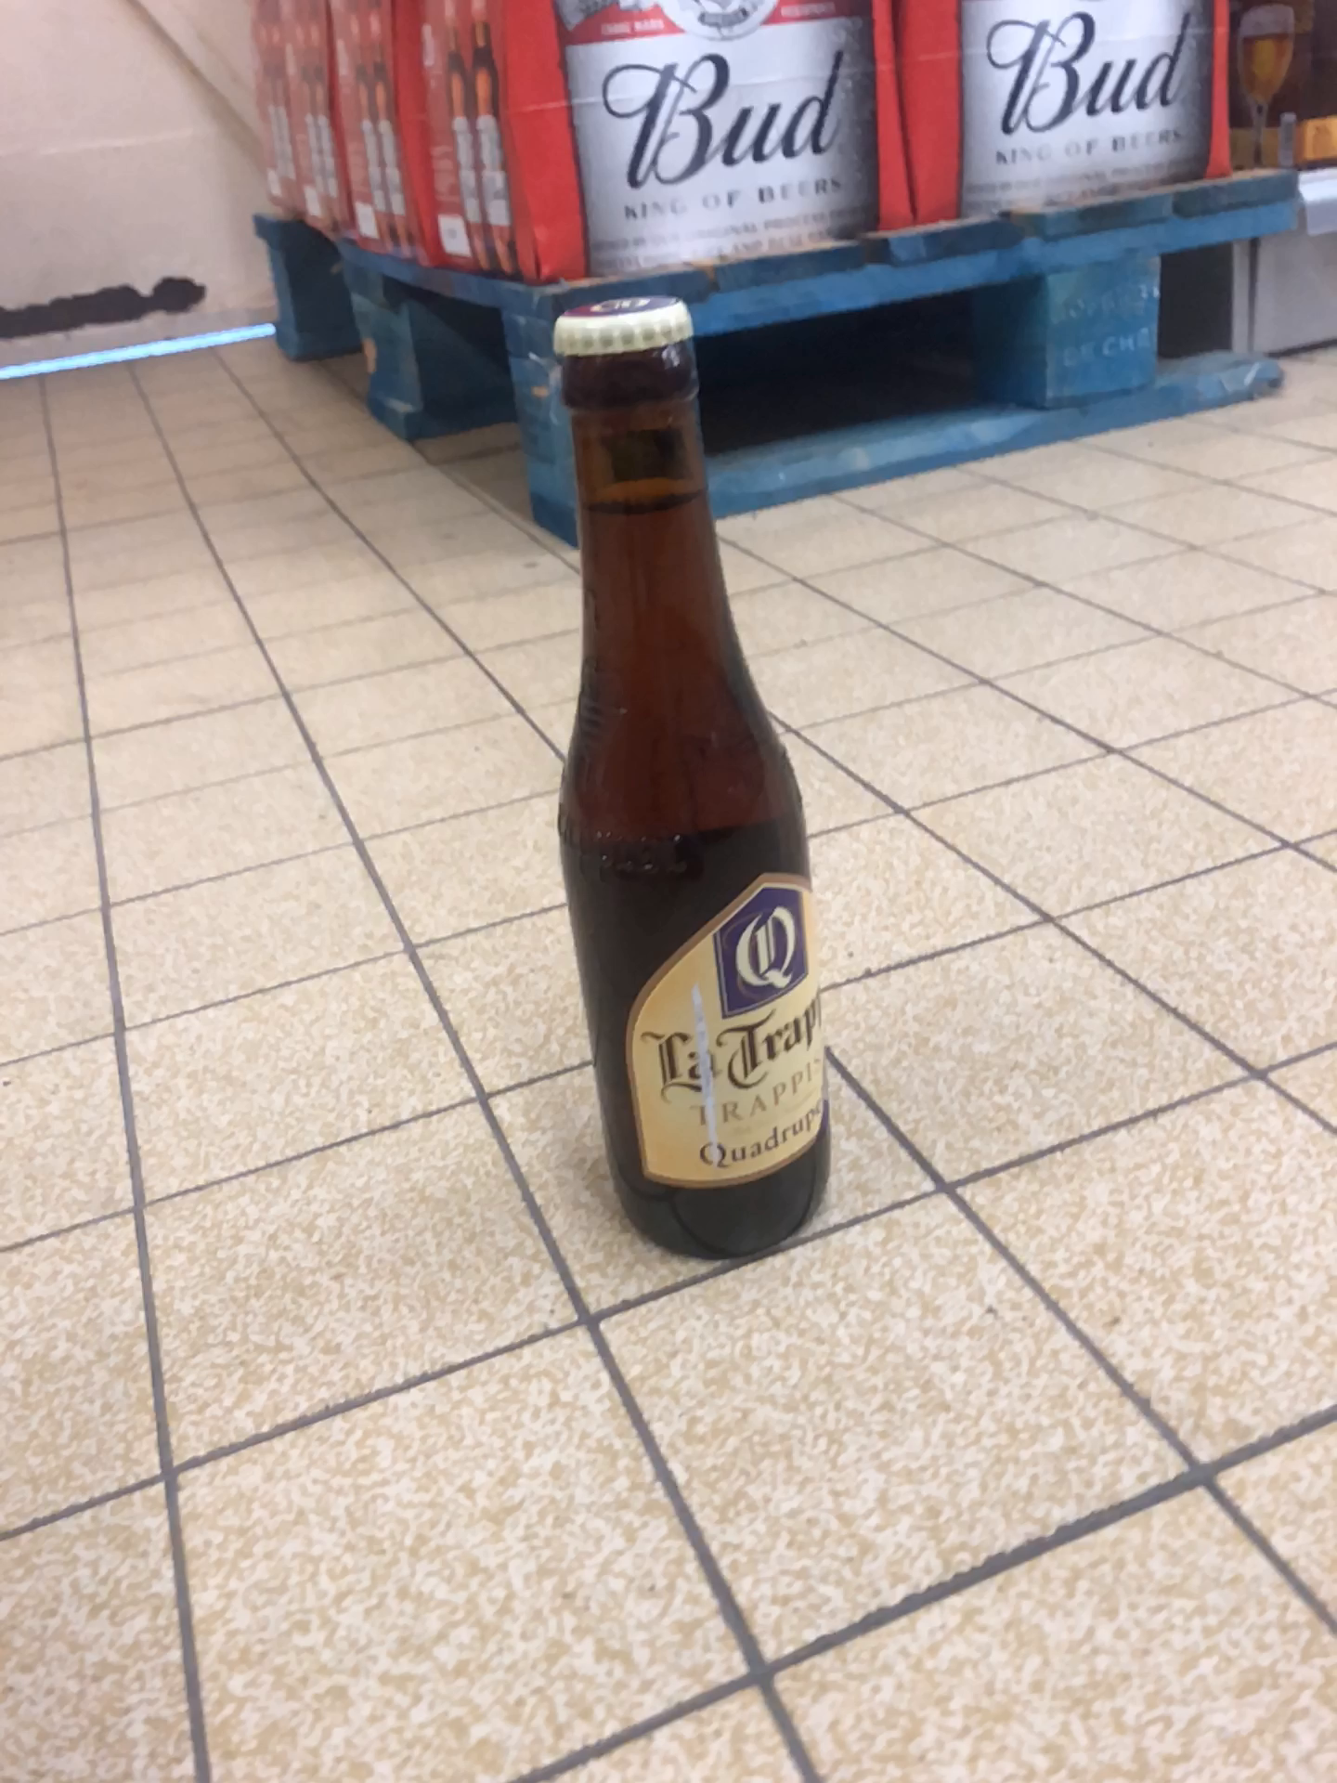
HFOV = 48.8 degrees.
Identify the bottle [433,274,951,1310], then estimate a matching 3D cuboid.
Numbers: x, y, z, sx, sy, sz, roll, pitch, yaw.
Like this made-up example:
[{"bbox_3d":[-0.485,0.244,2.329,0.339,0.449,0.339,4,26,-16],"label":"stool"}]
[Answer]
[{"bbox_3d":[0.013,-0.020,0.344,0.070,0.219,0.070,-6,28,3],"label":"bottle"}]
